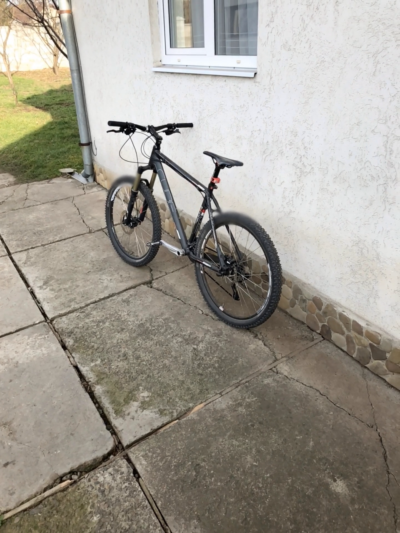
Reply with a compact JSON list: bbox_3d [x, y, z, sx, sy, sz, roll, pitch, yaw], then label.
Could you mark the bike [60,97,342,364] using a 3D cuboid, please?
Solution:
[{"bbox_3d":[-0.111,-0.399,2.864,0.688,1.090,1.779,-22,35,-34],"label":"bike"}]
